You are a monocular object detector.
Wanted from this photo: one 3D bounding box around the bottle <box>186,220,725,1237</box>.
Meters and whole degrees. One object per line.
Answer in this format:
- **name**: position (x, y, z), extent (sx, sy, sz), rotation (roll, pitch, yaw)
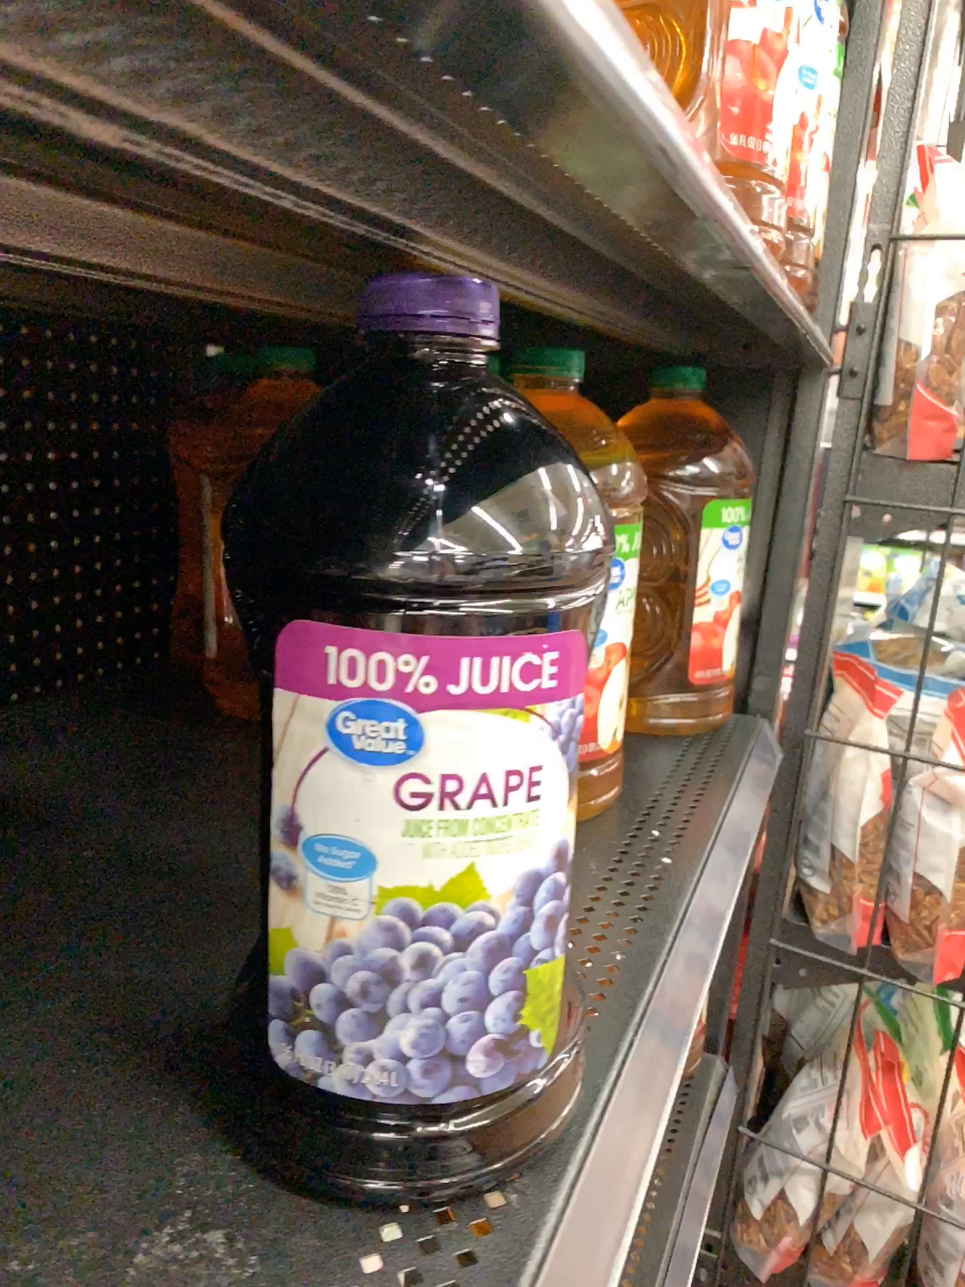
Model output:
- **bottle**: position (-0.023, 0.023, 0.338), extent (0.130, 0.279, 0.140), rotation (4, 13, -1)
